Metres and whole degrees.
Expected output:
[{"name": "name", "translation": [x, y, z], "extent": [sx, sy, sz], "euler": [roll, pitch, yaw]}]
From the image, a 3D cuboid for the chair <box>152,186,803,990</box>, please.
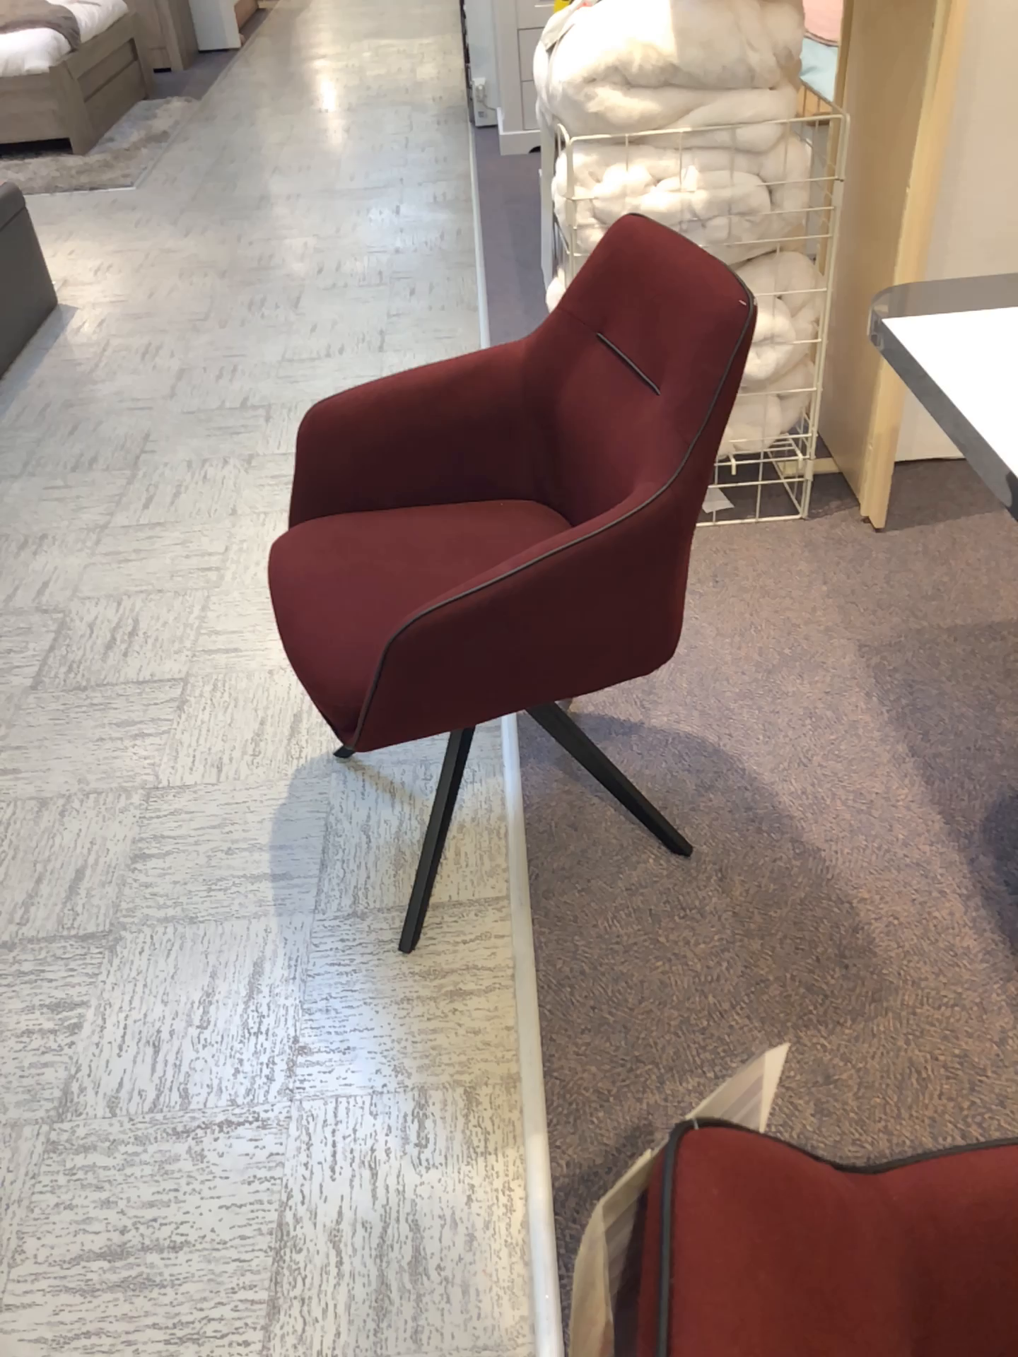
[{"name": "chair", "translation": [-0.055, -0.139, 1.436], "extent": [0.571, 0.736, 0.583], "euler": [-15, 38, -12]}]
